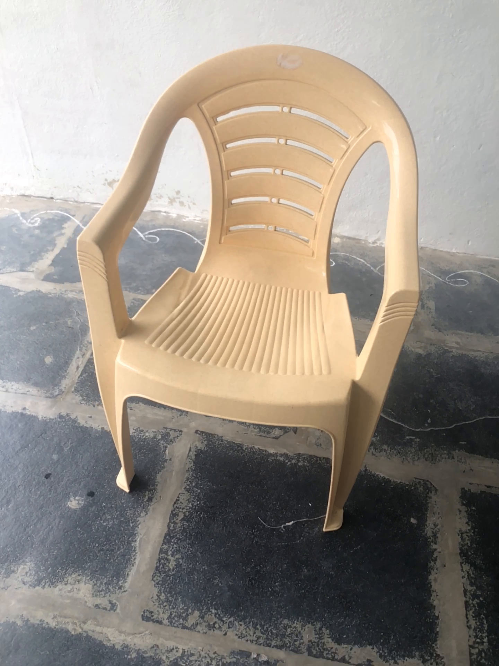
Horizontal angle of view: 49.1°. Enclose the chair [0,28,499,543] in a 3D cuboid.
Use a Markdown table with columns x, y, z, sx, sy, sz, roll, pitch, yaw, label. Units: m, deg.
| x | y | z | sx | sy | sz | roll | pitch | yaw | label |
| --- | --- | --- | --- | --- | --- | --- | --- | --- | --- |
| 0.012 | -0.092 | 1.113 | 0.620 | 0.736 | 0.654 | 6 | 44 | 2 | chair |
